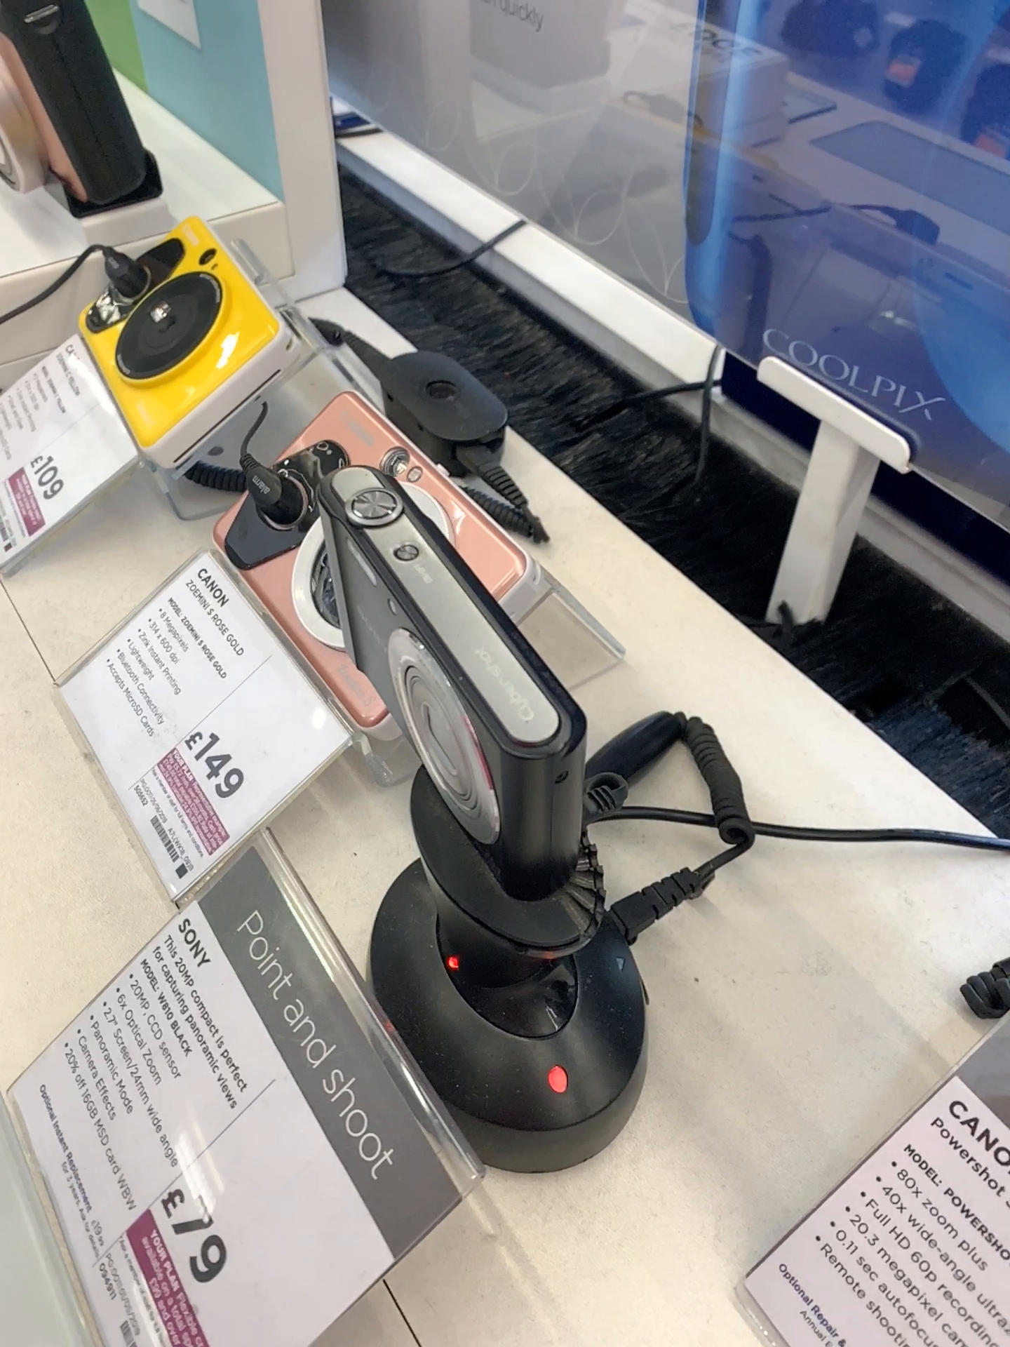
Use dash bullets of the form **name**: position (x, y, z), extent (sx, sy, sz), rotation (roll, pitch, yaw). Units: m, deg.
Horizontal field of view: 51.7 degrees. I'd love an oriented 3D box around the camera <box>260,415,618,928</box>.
- **camera**: position (-0.018, -0.004, 0.235), extent (0.030, 0.059, 0.101), rotation (-23, 52, -21)
